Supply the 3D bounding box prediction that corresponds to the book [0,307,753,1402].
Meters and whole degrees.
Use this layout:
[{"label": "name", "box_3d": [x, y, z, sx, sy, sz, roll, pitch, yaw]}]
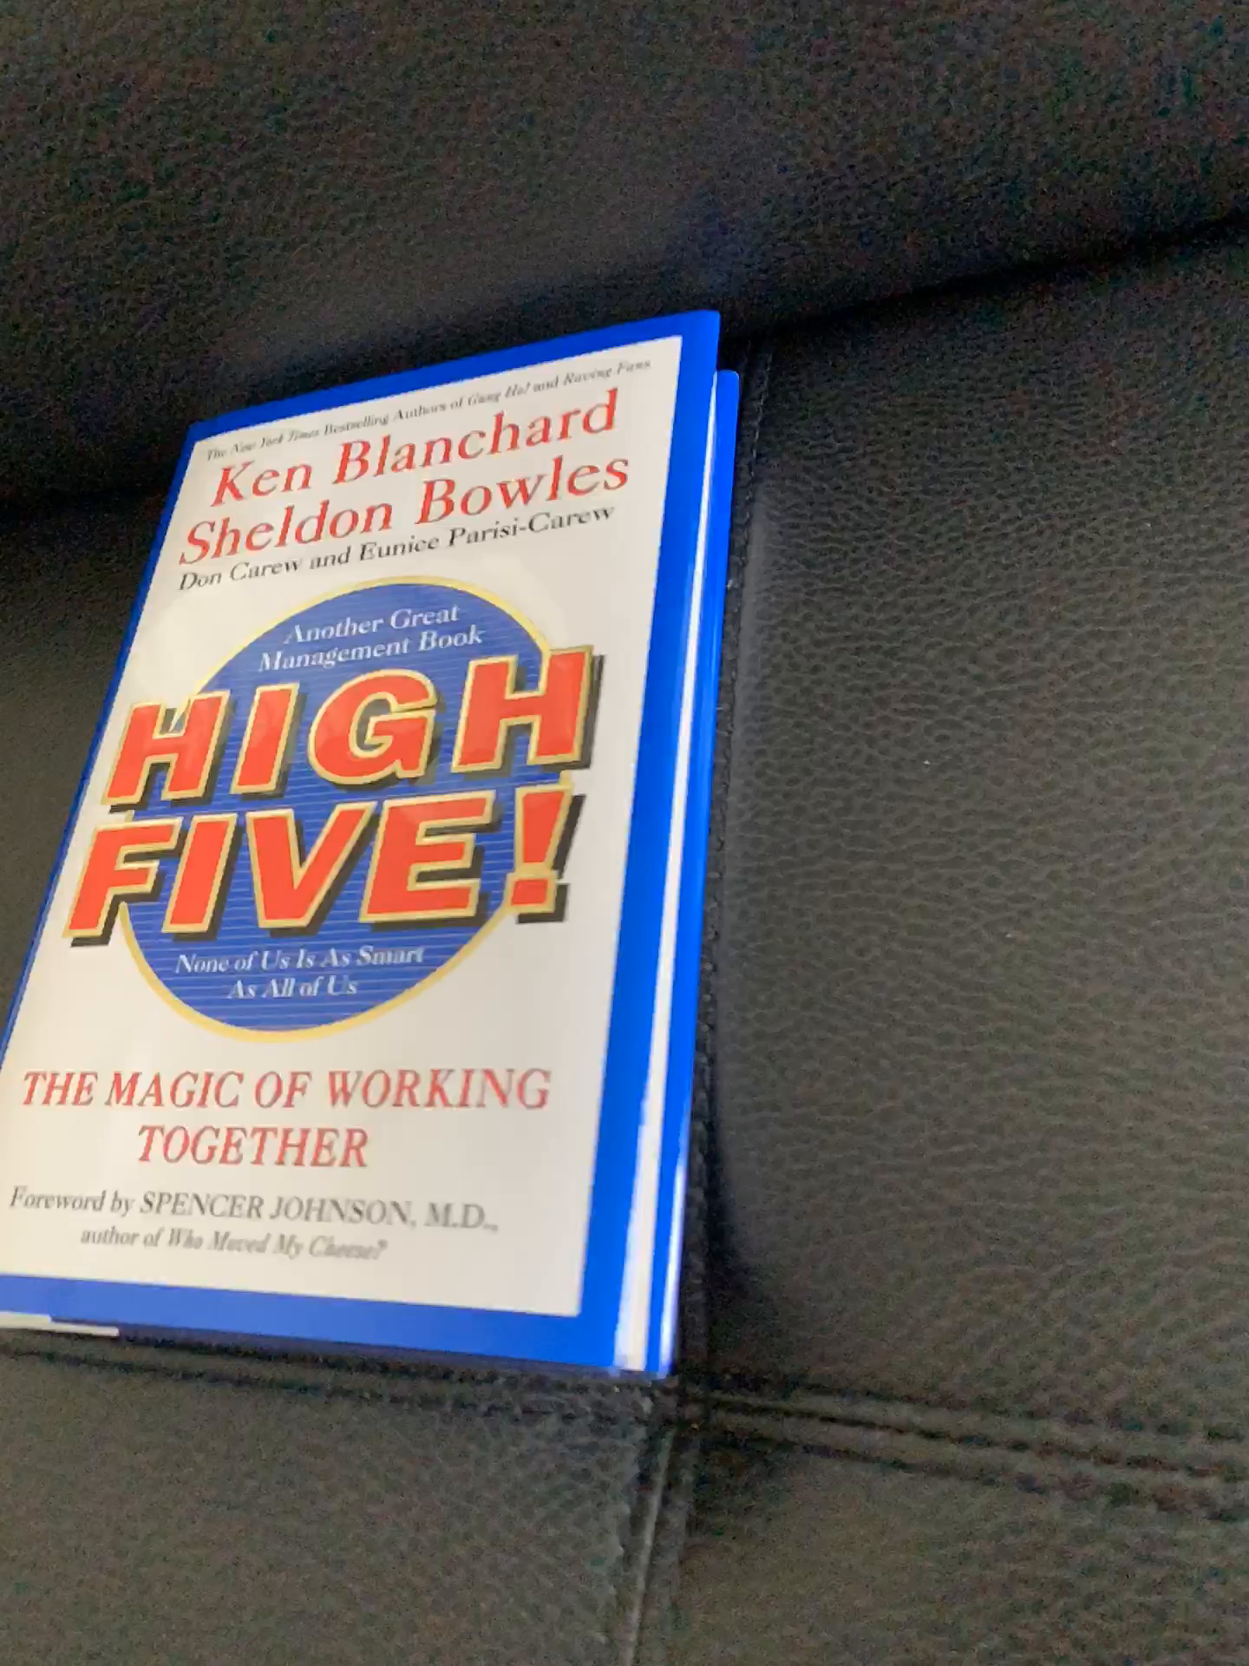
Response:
[{"label": "book", "box_3d": [-0.053, -0.006, 0.274, 0.151, 0.023, 0.221, -4, 64, 20]}]
